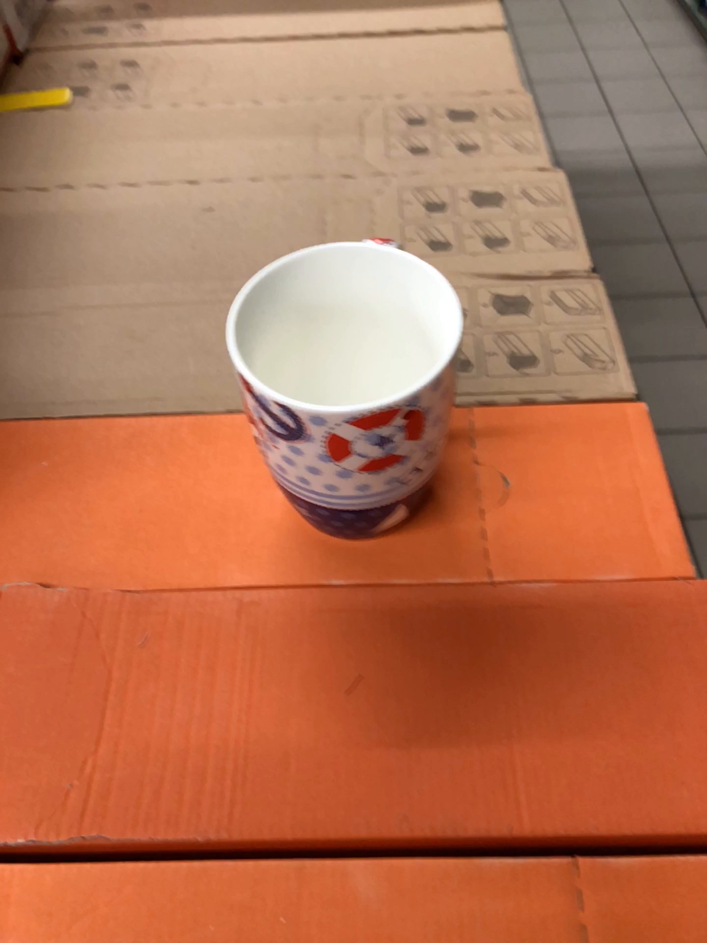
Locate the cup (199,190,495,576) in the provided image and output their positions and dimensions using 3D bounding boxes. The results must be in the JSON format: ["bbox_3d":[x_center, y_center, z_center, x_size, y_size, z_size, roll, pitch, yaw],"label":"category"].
[{"bbox_3d":[0.005,-0.036,0.313,0.086,0.092,0.113,7,52,8],"label":"cup"}]
